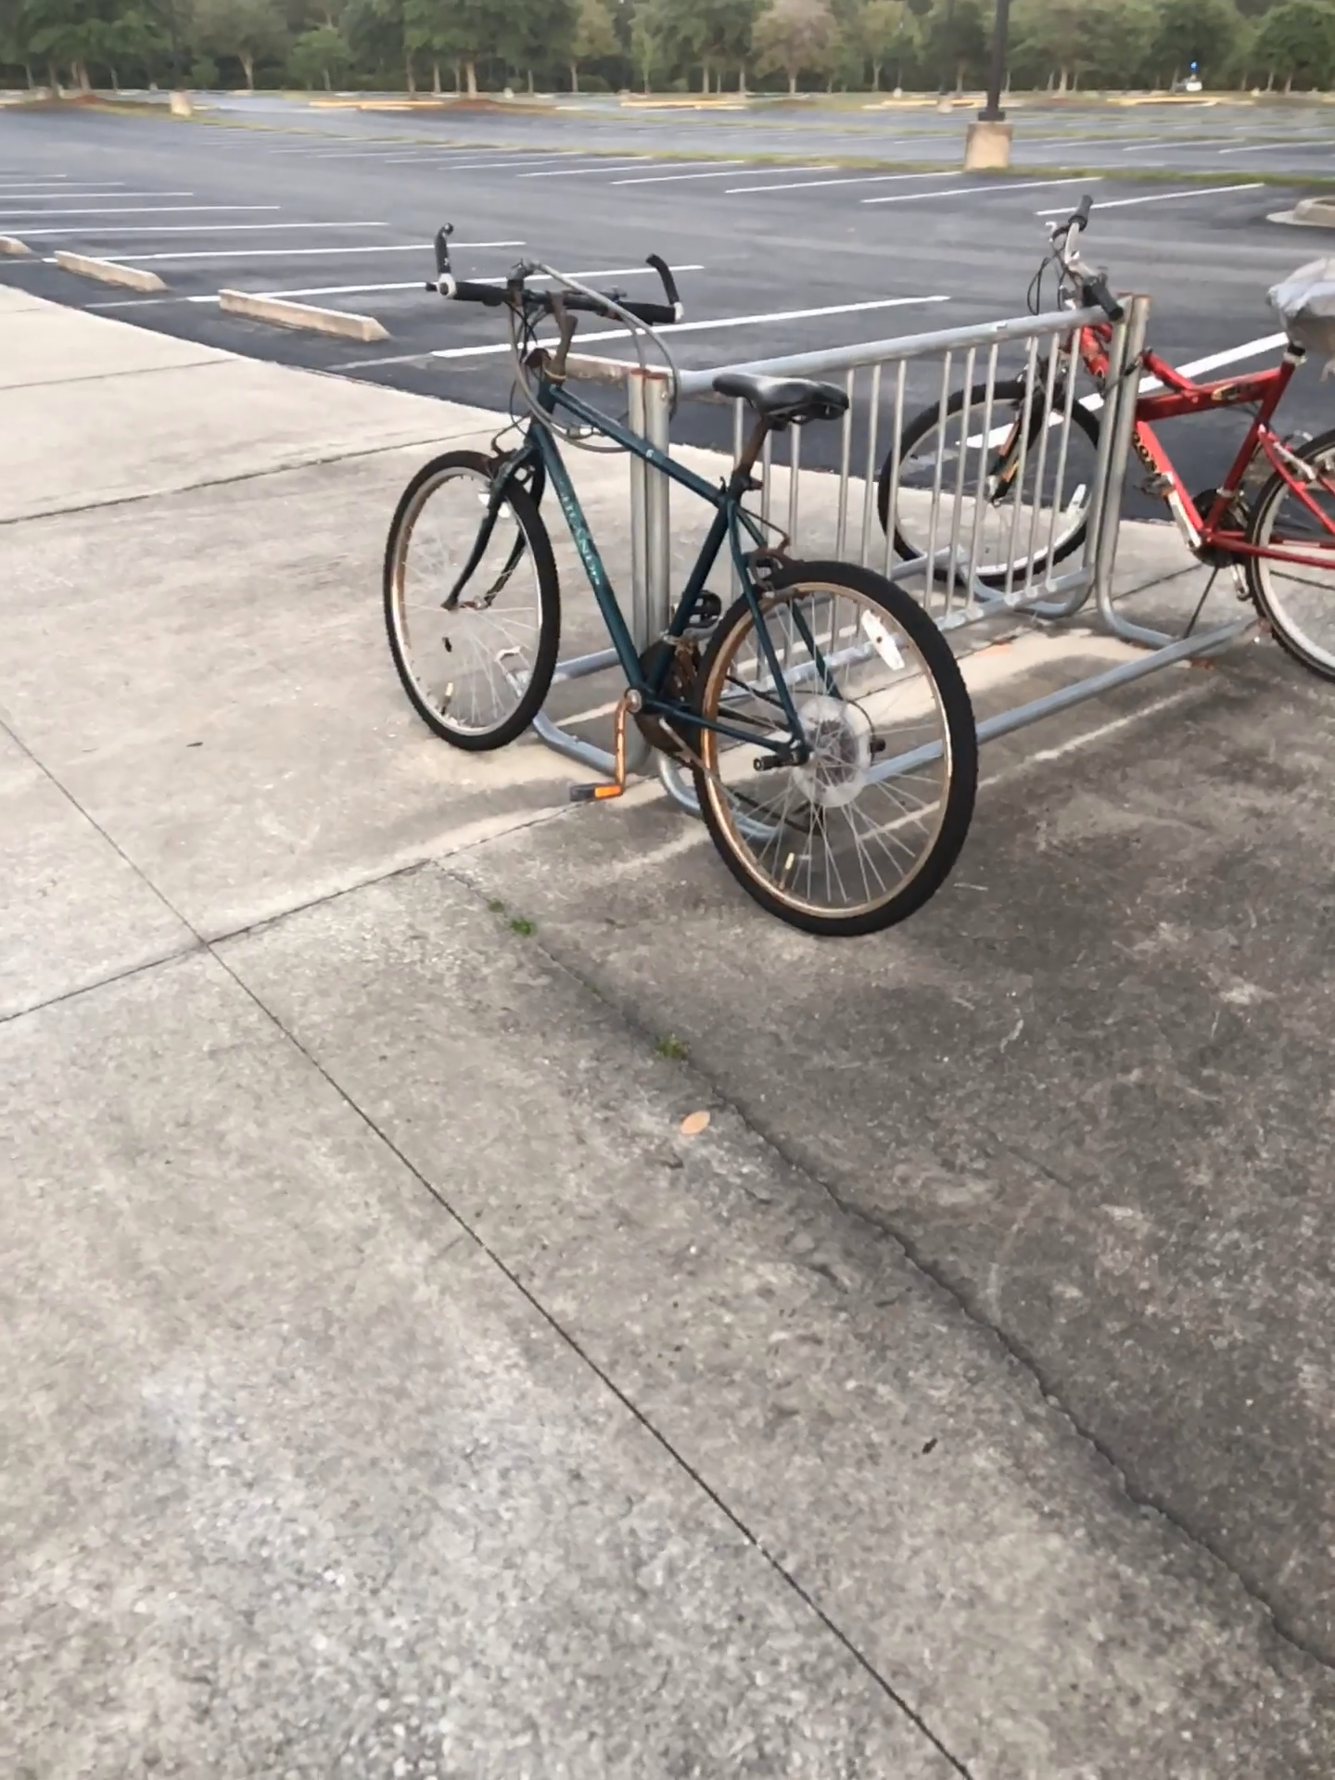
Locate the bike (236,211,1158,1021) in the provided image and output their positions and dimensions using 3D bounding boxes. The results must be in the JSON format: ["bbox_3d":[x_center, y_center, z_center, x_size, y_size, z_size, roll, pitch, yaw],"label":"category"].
[{"bbox_3d":[-0.081,-0.671,2.841,0.585,1.103,1.757,-22,35,-35],"label":"bike"}]
